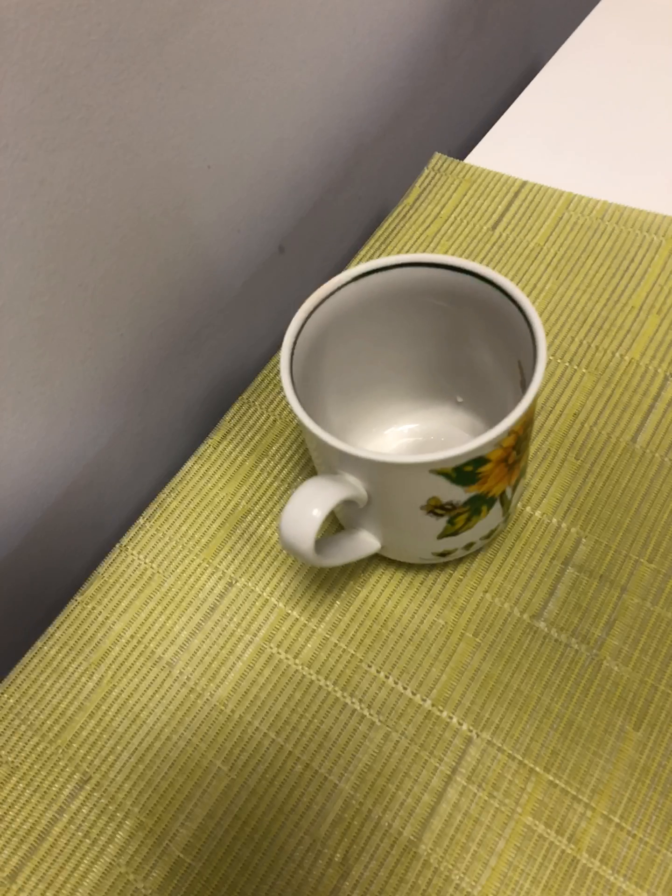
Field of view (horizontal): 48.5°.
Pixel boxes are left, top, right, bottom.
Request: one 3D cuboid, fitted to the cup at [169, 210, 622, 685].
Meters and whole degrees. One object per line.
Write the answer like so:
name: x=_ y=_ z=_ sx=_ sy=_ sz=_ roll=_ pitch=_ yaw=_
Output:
cup: x=0.025 y=-0.002 z=0.264 sx=0.088 sy=0.084 sz=0.116 roll=30 pitch=68 yaw=27
